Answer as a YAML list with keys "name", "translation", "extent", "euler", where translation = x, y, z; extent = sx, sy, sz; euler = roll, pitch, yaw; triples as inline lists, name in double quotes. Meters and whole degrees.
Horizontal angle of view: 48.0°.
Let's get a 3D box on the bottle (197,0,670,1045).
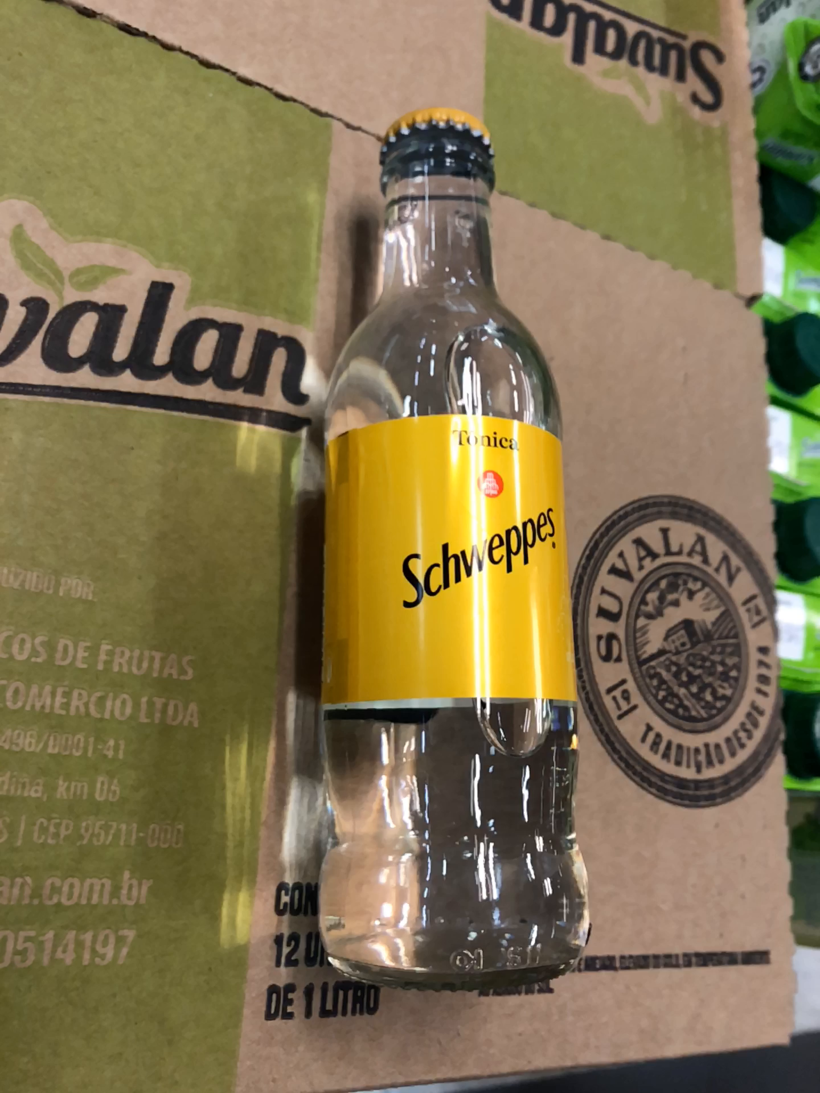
- name: "bottle"
  translation: [-0.002, -0.031, 0.214]
  extent: [0.070, 0.070, 0.240]
  euler: [6, 75, -30]
